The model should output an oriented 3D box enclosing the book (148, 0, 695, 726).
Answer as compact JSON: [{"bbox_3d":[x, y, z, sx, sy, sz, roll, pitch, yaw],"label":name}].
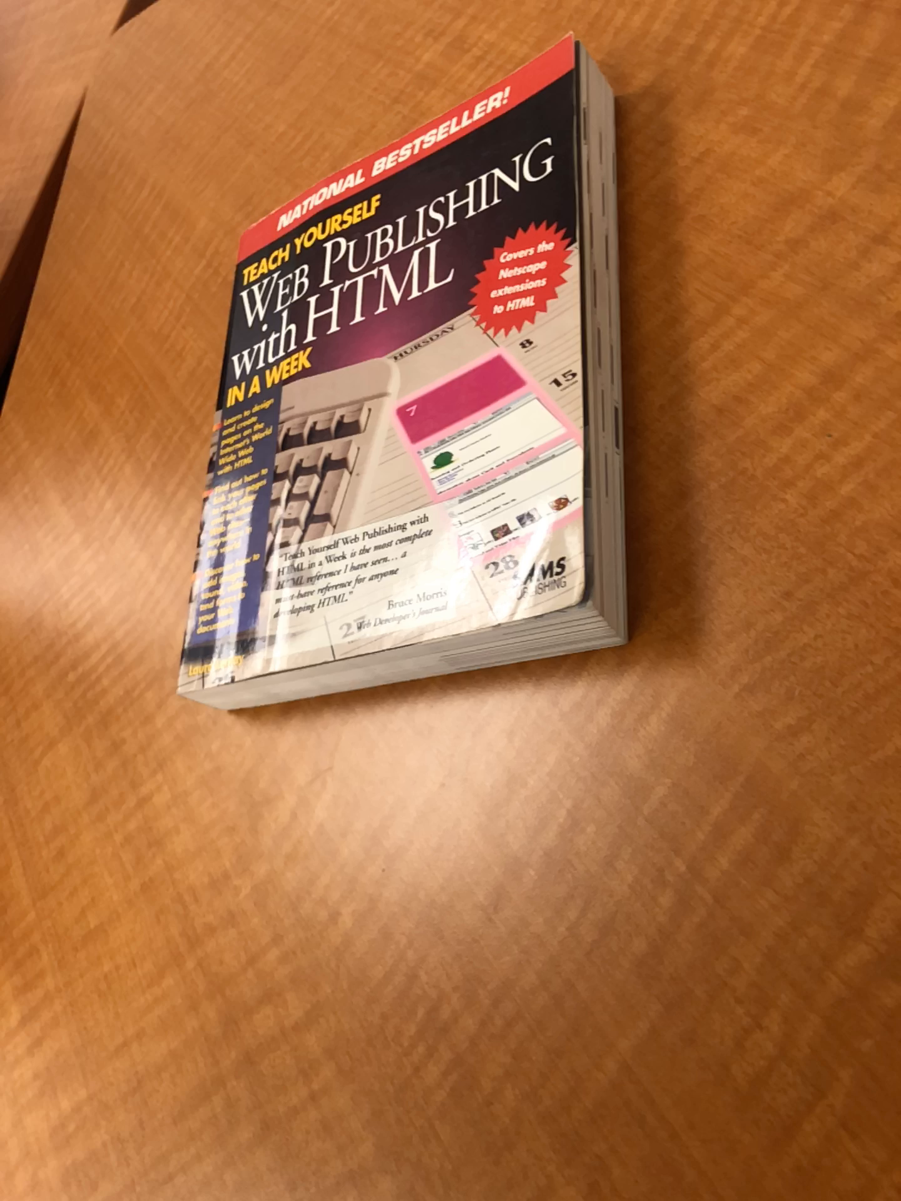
[{"bbox_3d":[-0.017,-0.089,0.397,0.211,0.040,0.251,-13,63,34],"label":"book"}]
